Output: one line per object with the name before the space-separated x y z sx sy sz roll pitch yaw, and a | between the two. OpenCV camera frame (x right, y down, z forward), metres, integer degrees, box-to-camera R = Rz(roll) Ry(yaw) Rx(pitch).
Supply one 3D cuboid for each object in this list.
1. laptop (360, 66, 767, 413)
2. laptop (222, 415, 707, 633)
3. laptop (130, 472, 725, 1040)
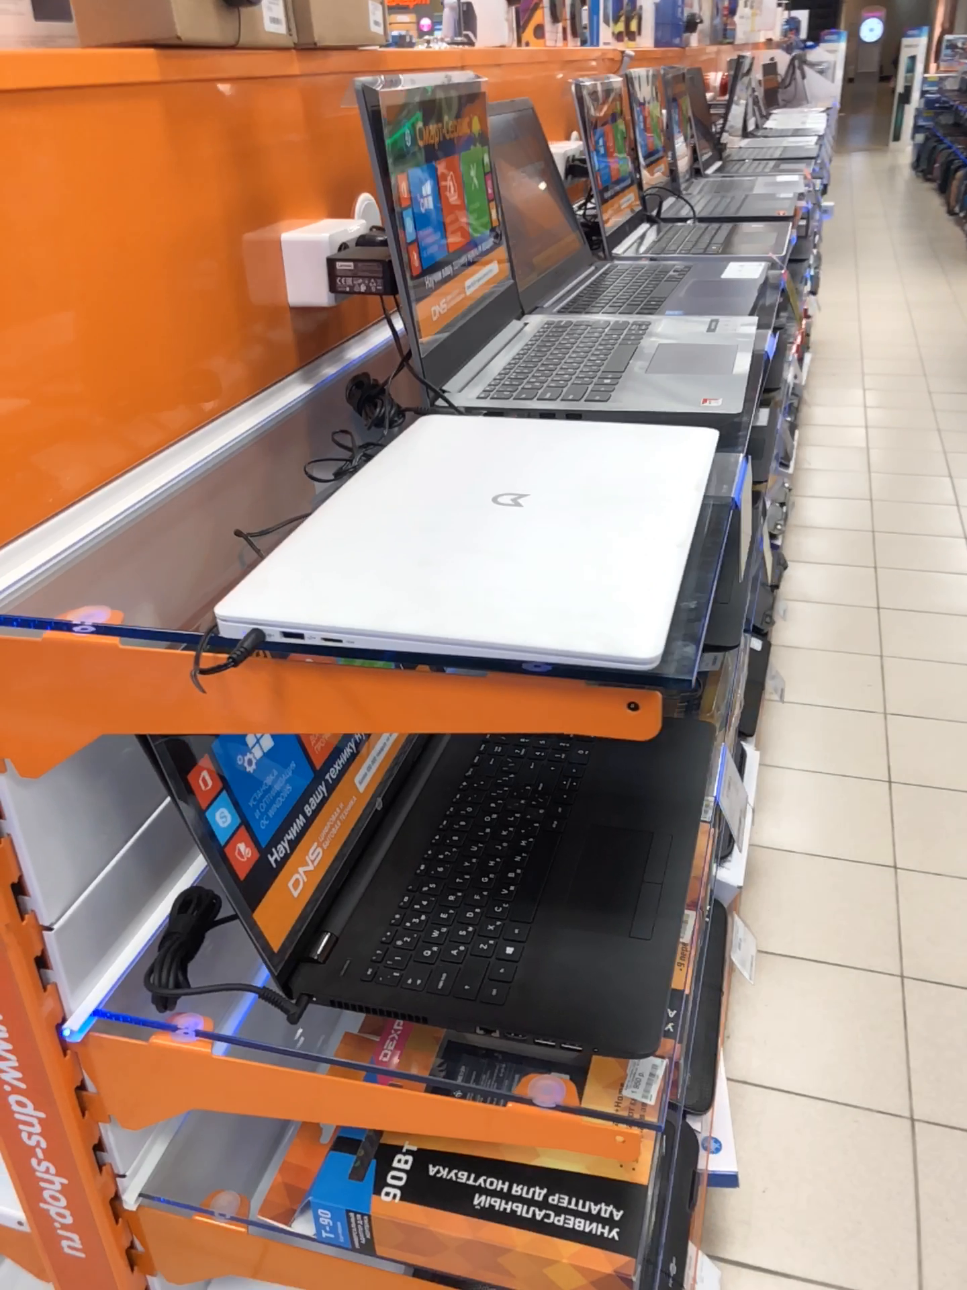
laptop | 0.086 -0.362 0.911 0.278 0.224 0.346 4 29 13
laptop | 0.013 -0.088 0.630 0.211 0.002 0.314 5 29 14
laptop | -0.004 0.046 0.799 0.306 0.228 0.366 6 30 17
